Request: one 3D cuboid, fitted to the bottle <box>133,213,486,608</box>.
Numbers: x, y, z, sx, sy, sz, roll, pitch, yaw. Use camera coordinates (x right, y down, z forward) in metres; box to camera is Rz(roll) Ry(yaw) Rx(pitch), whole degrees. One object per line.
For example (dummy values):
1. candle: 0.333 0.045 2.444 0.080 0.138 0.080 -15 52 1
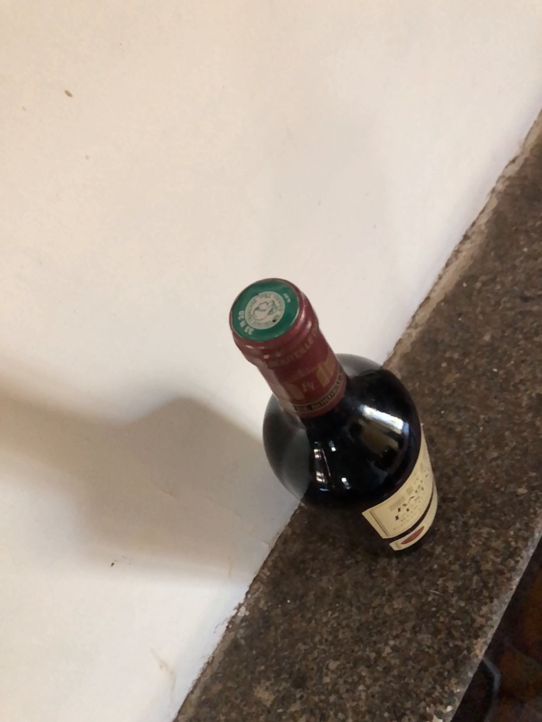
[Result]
1. bottle: 0.051 0.055 0.295 0.070 0.279 0.080 28 78 29
